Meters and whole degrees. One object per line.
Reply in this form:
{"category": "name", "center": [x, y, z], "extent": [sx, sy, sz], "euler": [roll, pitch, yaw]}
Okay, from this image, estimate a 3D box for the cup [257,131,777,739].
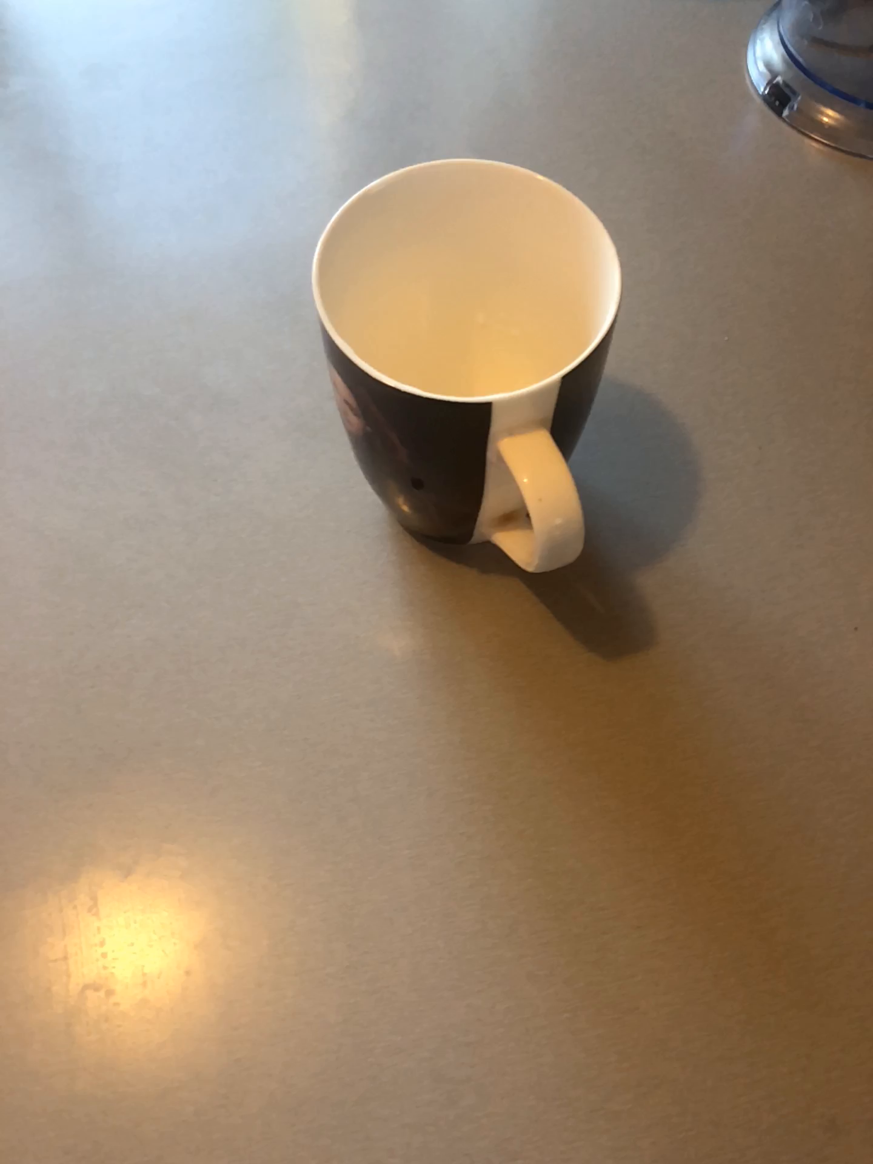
{"category": "cup", "center": [0.016, -0.042, 0.295], "extent": [0.090, 0.100, 0.130], "euler": [-20, 64, -9]}
